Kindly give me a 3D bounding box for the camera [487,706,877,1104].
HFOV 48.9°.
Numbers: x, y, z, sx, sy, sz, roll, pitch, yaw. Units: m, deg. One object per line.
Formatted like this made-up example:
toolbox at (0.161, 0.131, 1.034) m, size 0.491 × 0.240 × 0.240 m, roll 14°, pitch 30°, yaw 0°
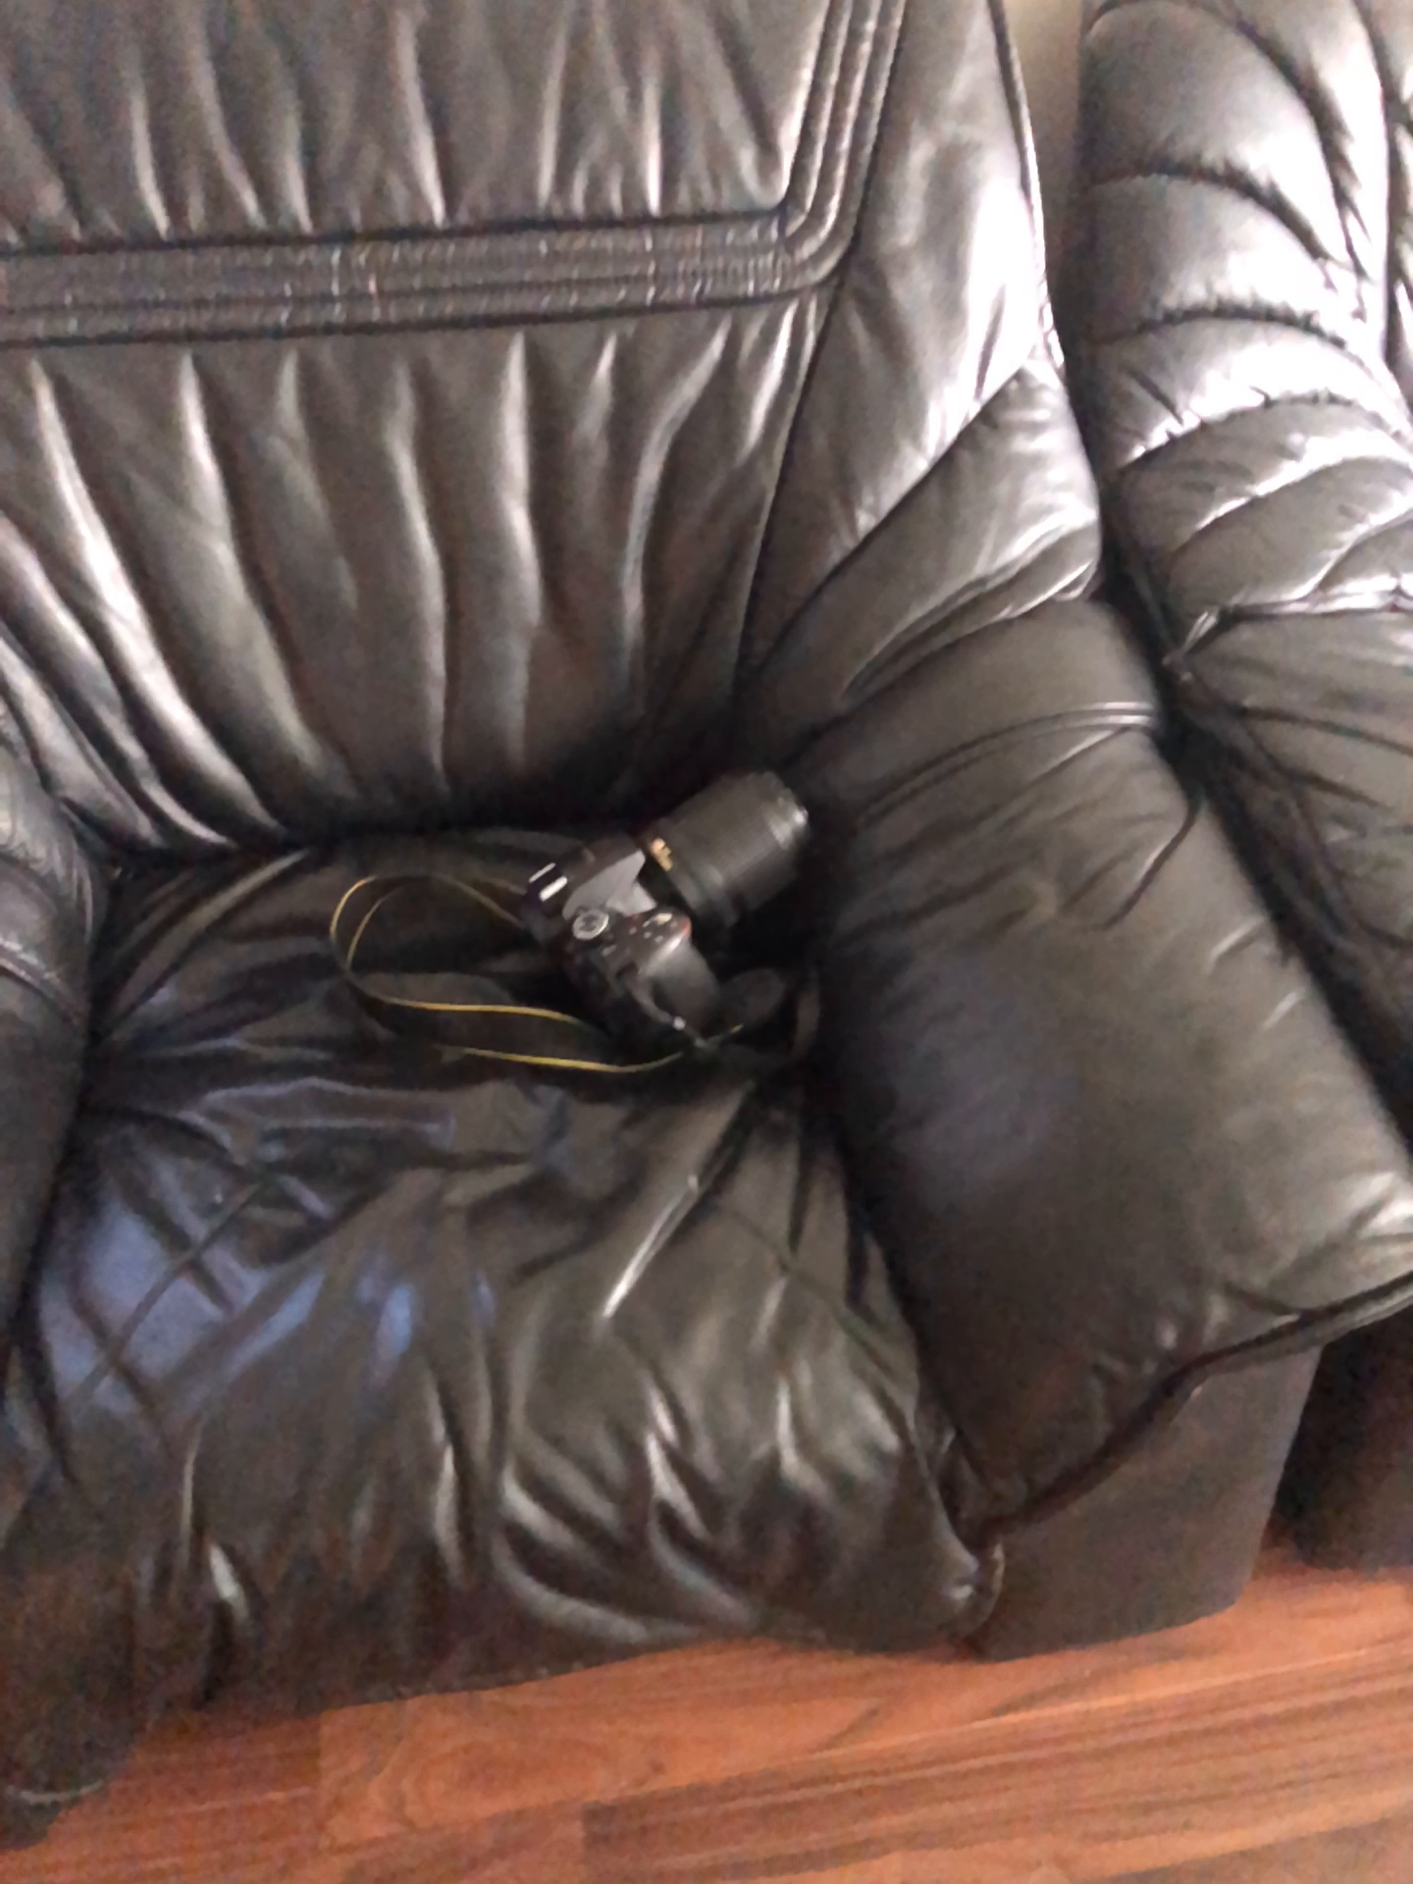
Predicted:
camera at (-0.014, -0.025, 0.988) m, size 0.170 × 0.130 × 0.140 m, roll -35°, pitch 48°, yaw -9°
